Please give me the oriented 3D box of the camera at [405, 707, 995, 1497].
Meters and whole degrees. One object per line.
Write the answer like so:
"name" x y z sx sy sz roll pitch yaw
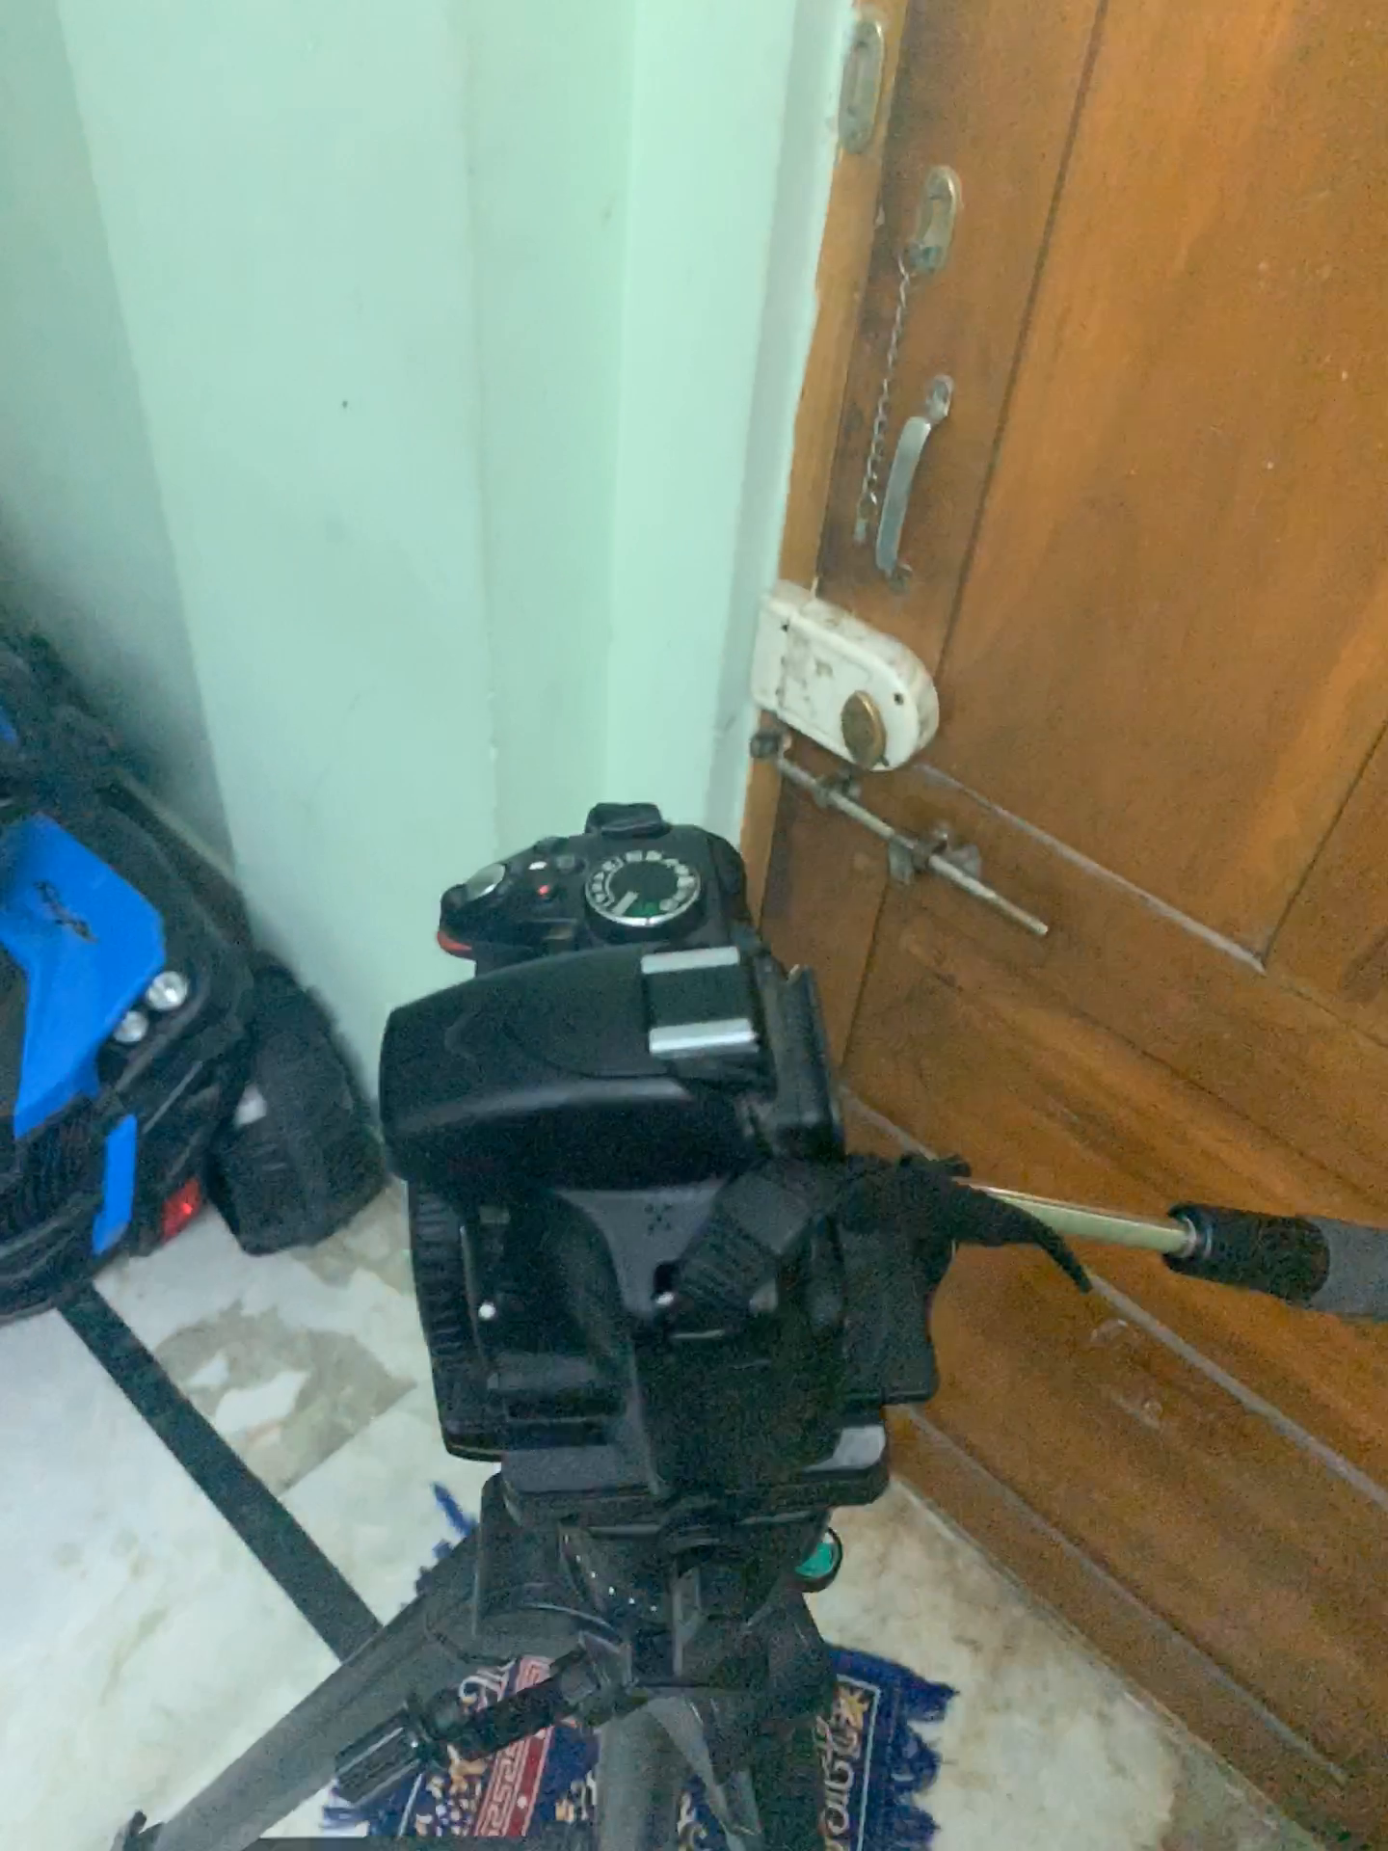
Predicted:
"camera" -0.007 0.032 0.280 0.086 0.095 0.118 0 45 -6
